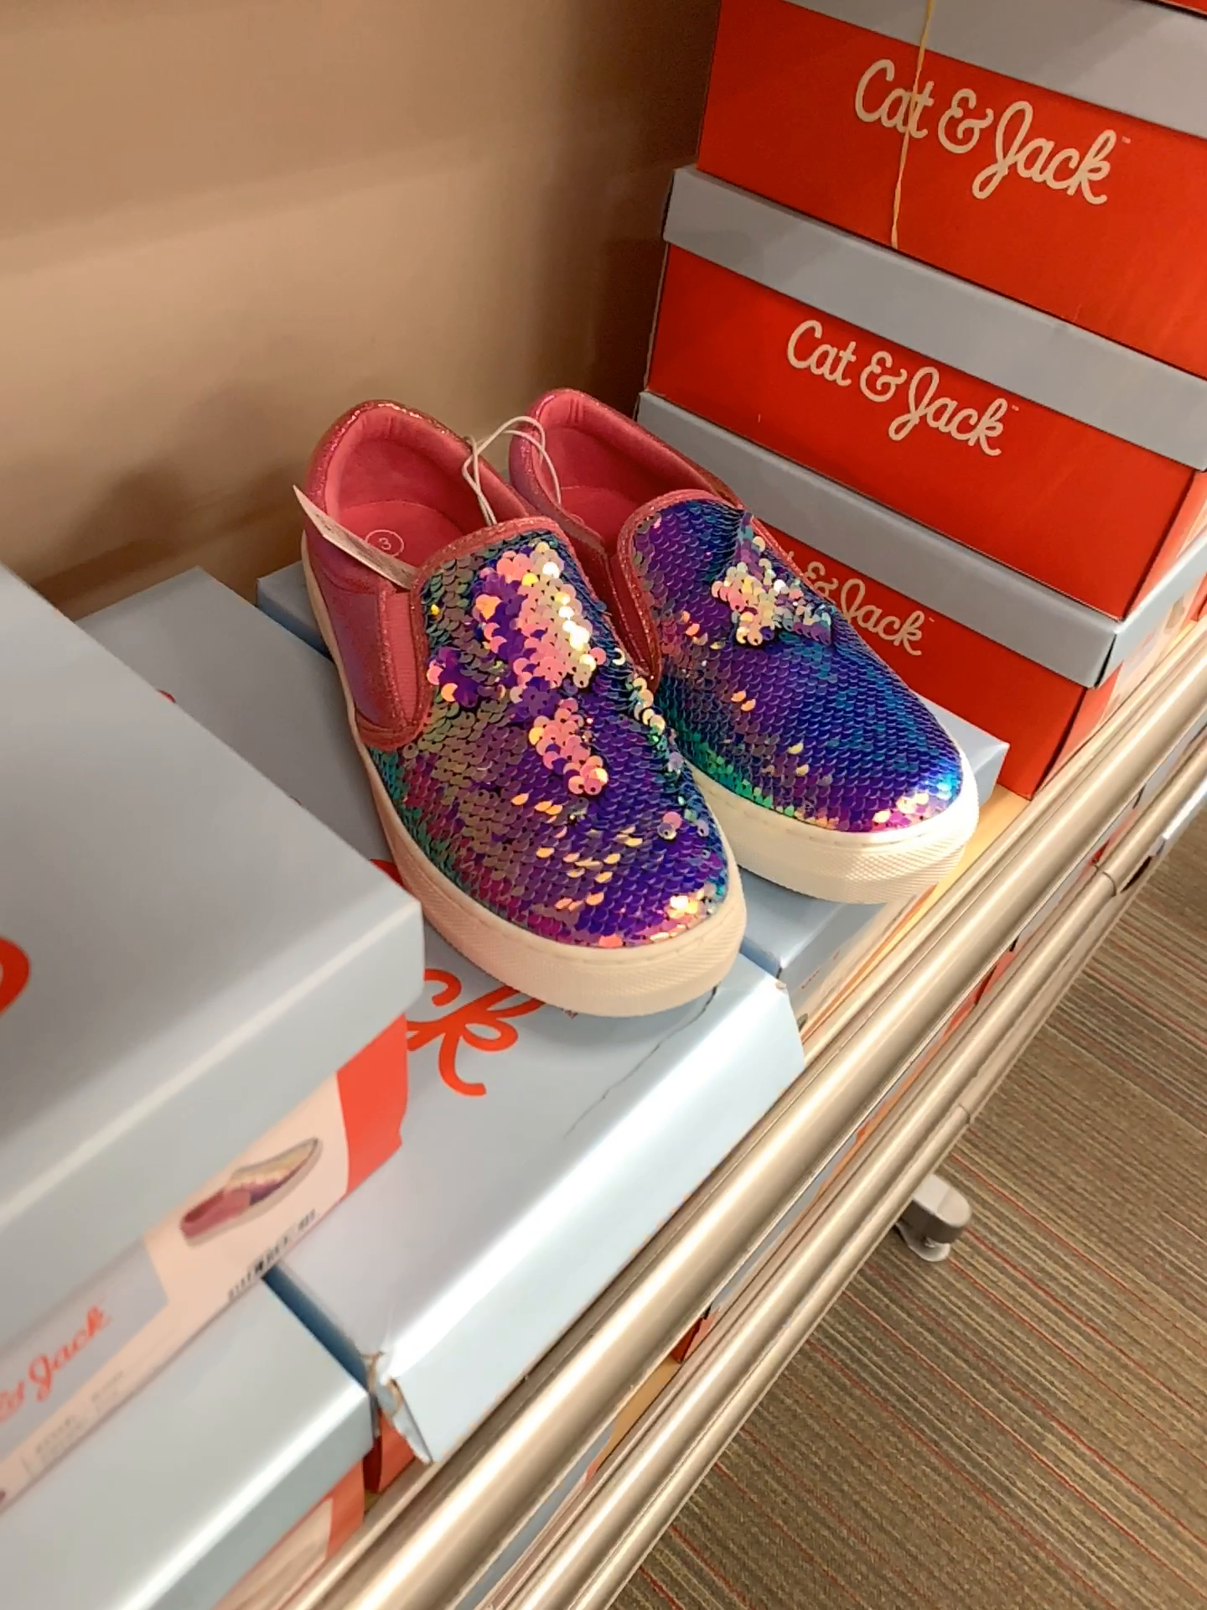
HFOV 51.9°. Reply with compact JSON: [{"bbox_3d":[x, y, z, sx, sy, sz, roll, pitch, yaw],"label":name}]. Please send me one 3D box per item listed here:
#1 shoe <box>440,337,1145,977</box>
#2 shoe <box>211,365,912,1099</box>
[{"bbox_3d":[0.044,-0.060,0.395,0.090,0.074,0.211,-26,55,-30],"label":"shoe"},{"bbox_3d":[-0.026,-0.037,0.361,0.100,0.074,0.211,-19,52,-25],"label":"shoe"}]
